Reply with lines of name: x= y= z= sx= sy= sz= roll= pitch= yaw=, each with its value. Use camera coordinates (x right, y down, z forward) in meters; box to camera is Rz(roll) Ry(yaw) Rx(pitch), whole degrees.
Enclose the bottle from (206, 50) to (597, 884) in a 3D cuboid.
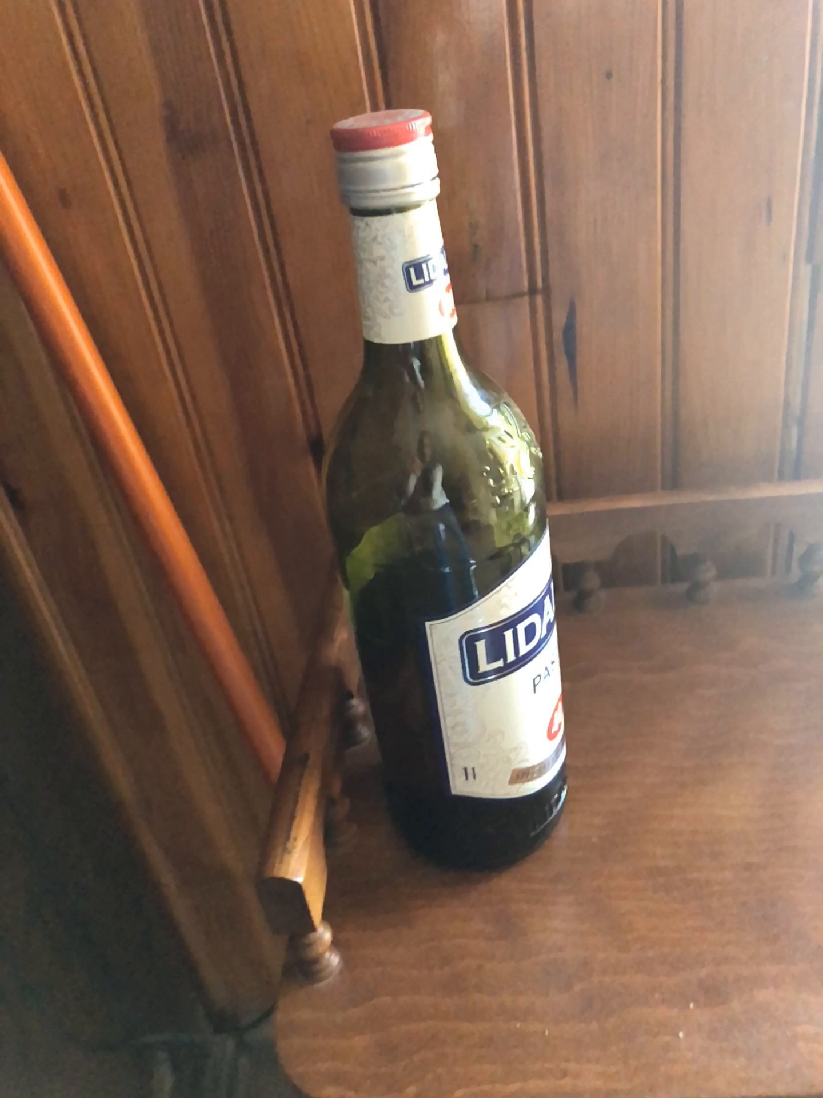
bottle: x=0.018 y=-0.013 z=0.349 sx=0.080 sy=0.298 sz=0.091 roll=6 pitch=36 yaw=22
